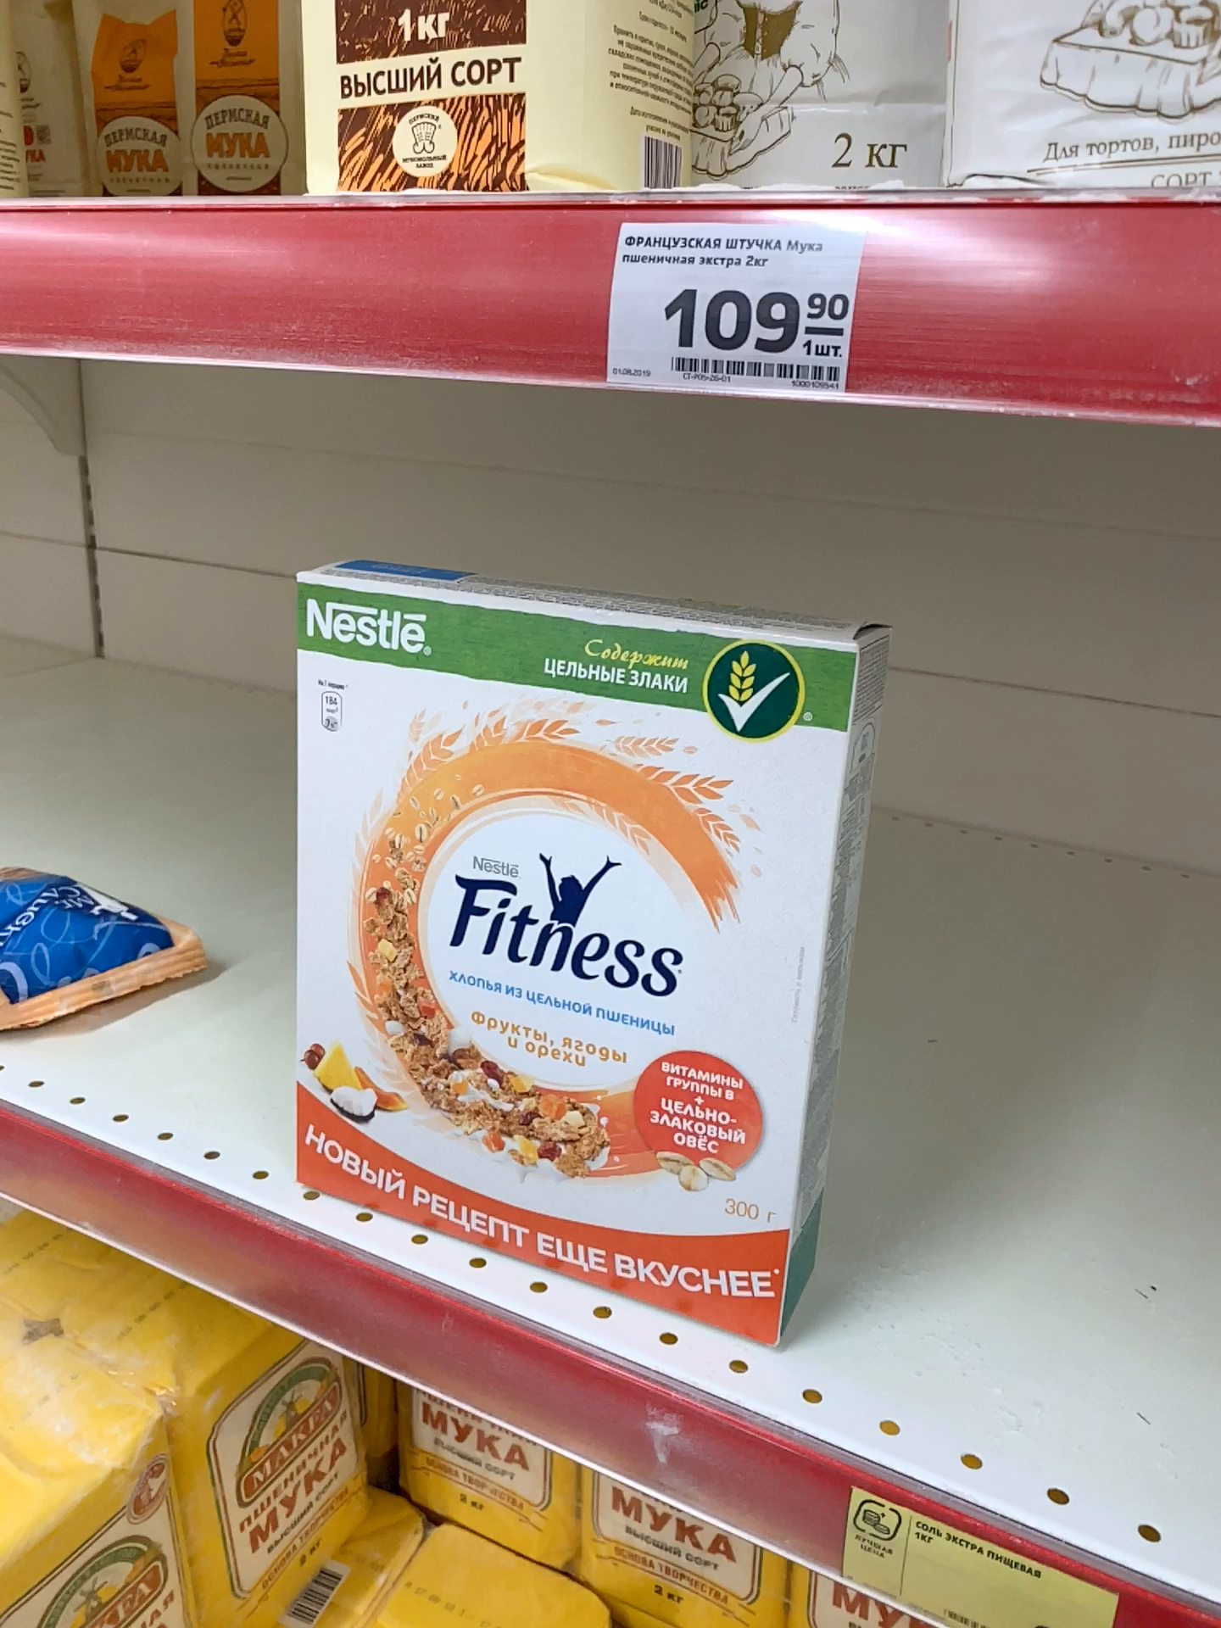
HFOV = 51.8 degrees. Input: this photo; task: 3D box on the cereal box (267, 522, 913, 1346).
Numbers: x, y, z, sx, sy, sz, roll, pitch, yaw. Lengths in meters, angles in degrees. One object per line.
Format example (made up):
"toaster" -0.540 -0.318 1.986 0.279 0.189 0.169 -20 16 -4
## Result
"cereal box" -0.018 0.030 0.437 0.200 0.239 0.060 11 15 23
